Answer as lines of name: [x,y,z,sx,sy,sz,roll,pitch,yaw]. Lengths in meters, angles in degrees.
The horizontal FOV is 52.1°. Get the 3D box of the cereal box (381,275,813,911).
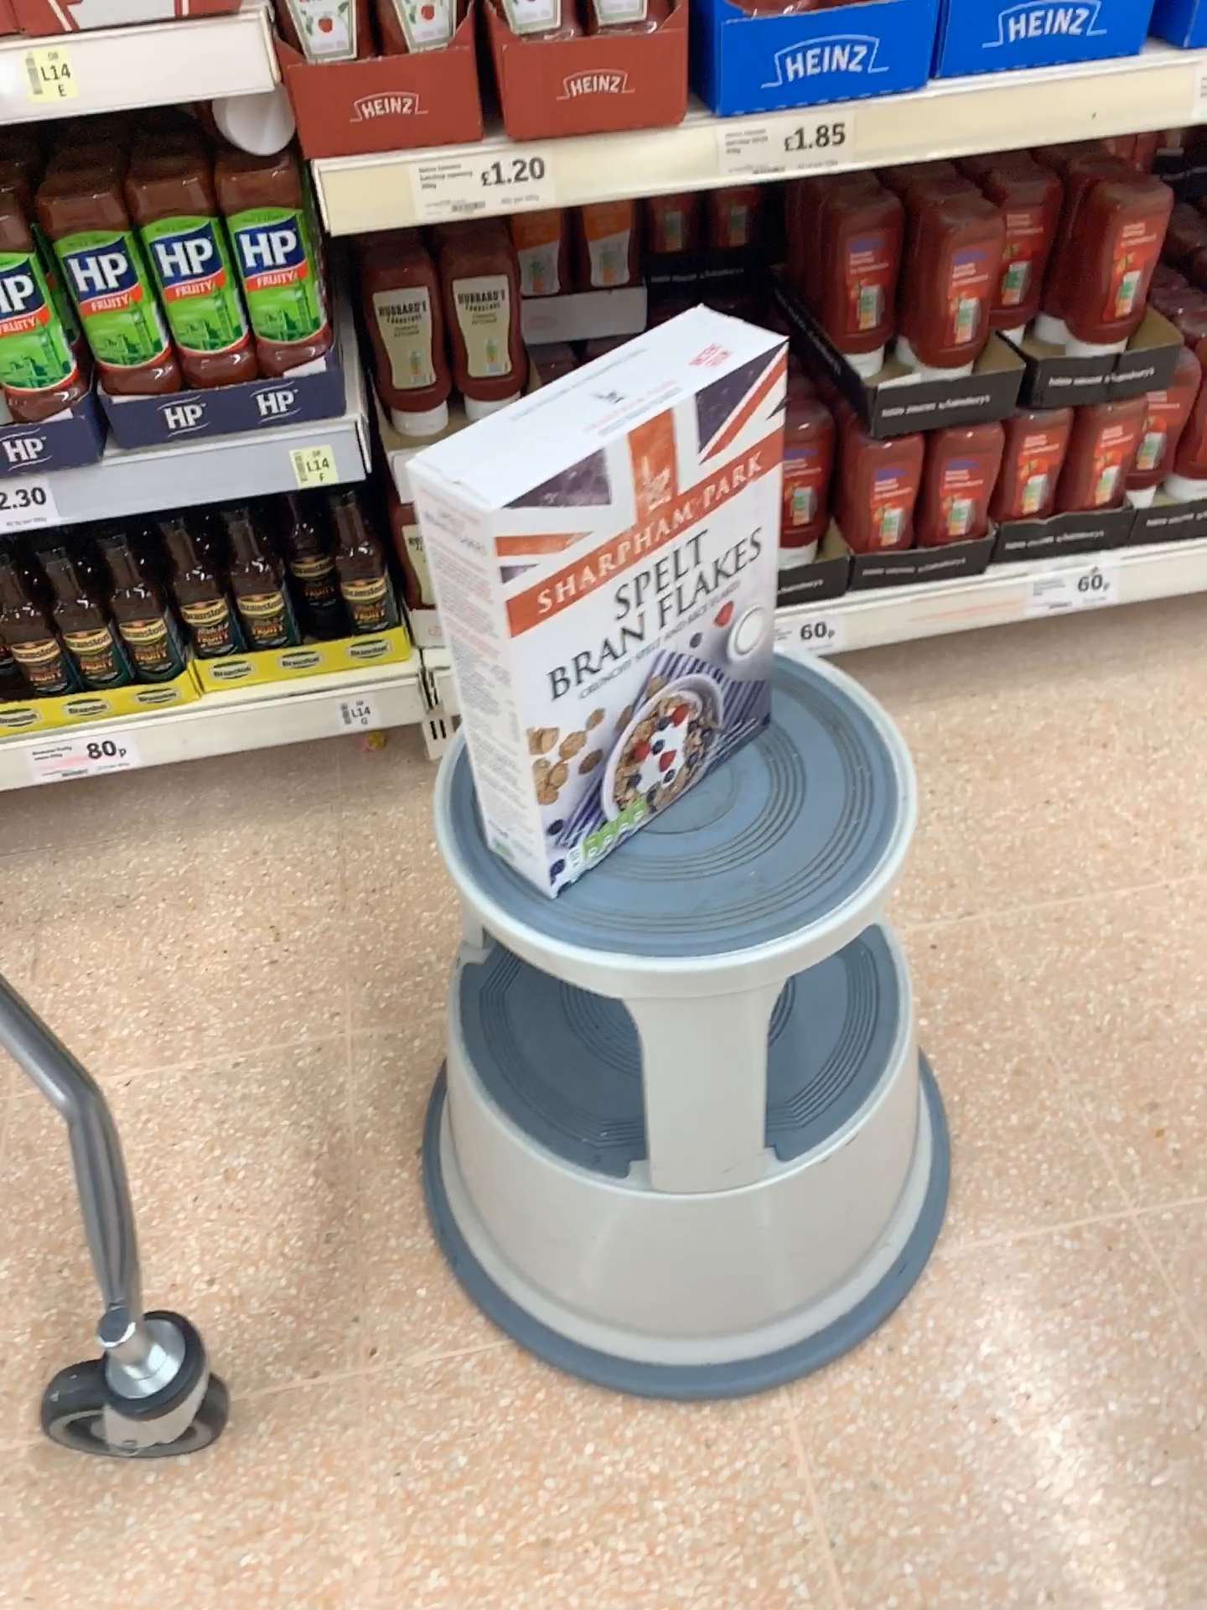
cereal box: [0.010,-0.103,0.641,0.201,0.258,0.070,-37,54,-27]
